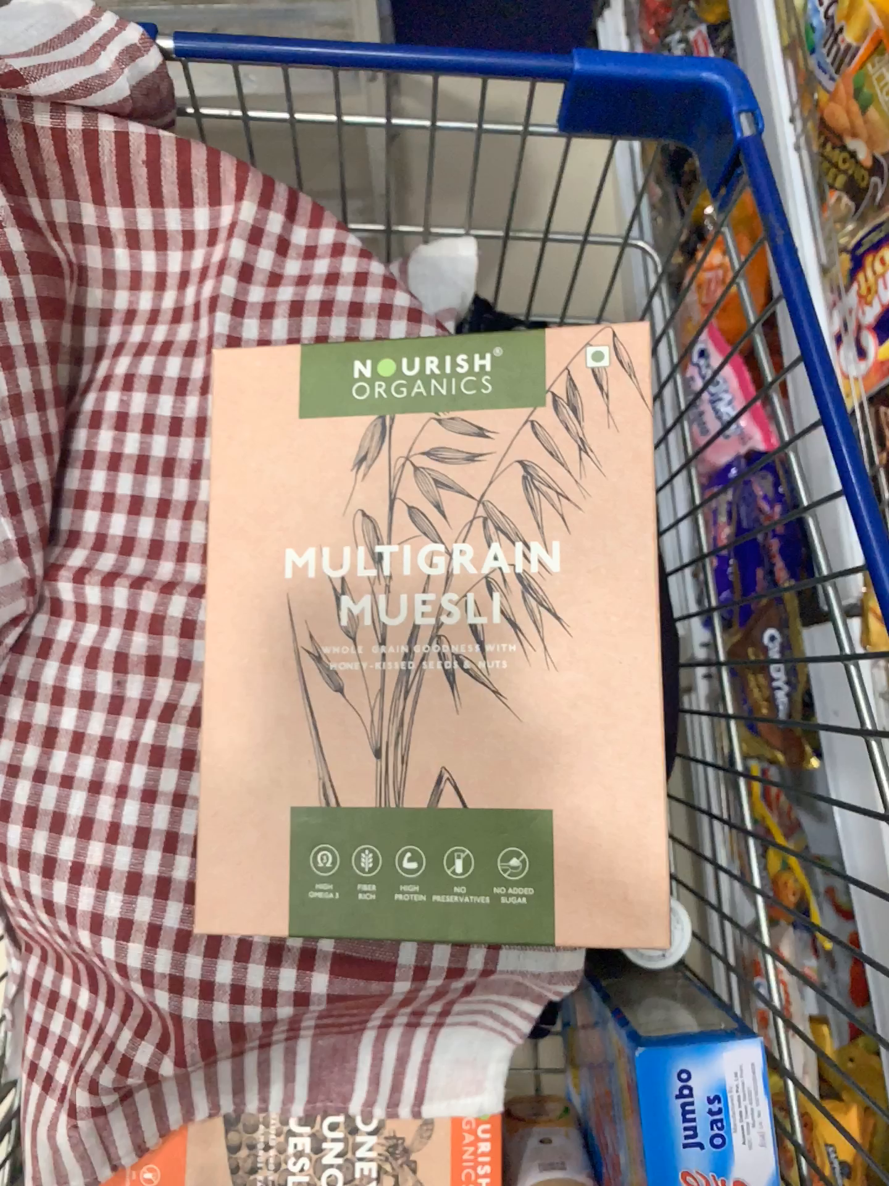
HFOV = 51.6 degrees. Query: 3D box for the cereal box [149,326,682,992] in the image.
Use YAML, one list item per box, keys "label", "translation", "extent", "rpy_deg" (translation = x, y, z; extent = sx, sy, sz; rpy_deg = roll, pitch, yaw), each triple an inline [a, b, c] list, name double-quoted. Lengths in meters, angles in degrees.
- label: "cereal box"
  translation: [-0.009, 0.020, 0.311]
  extent: [0.160, 0.050, 0.200]
  rpy_deg: [-1, 82, 7]
